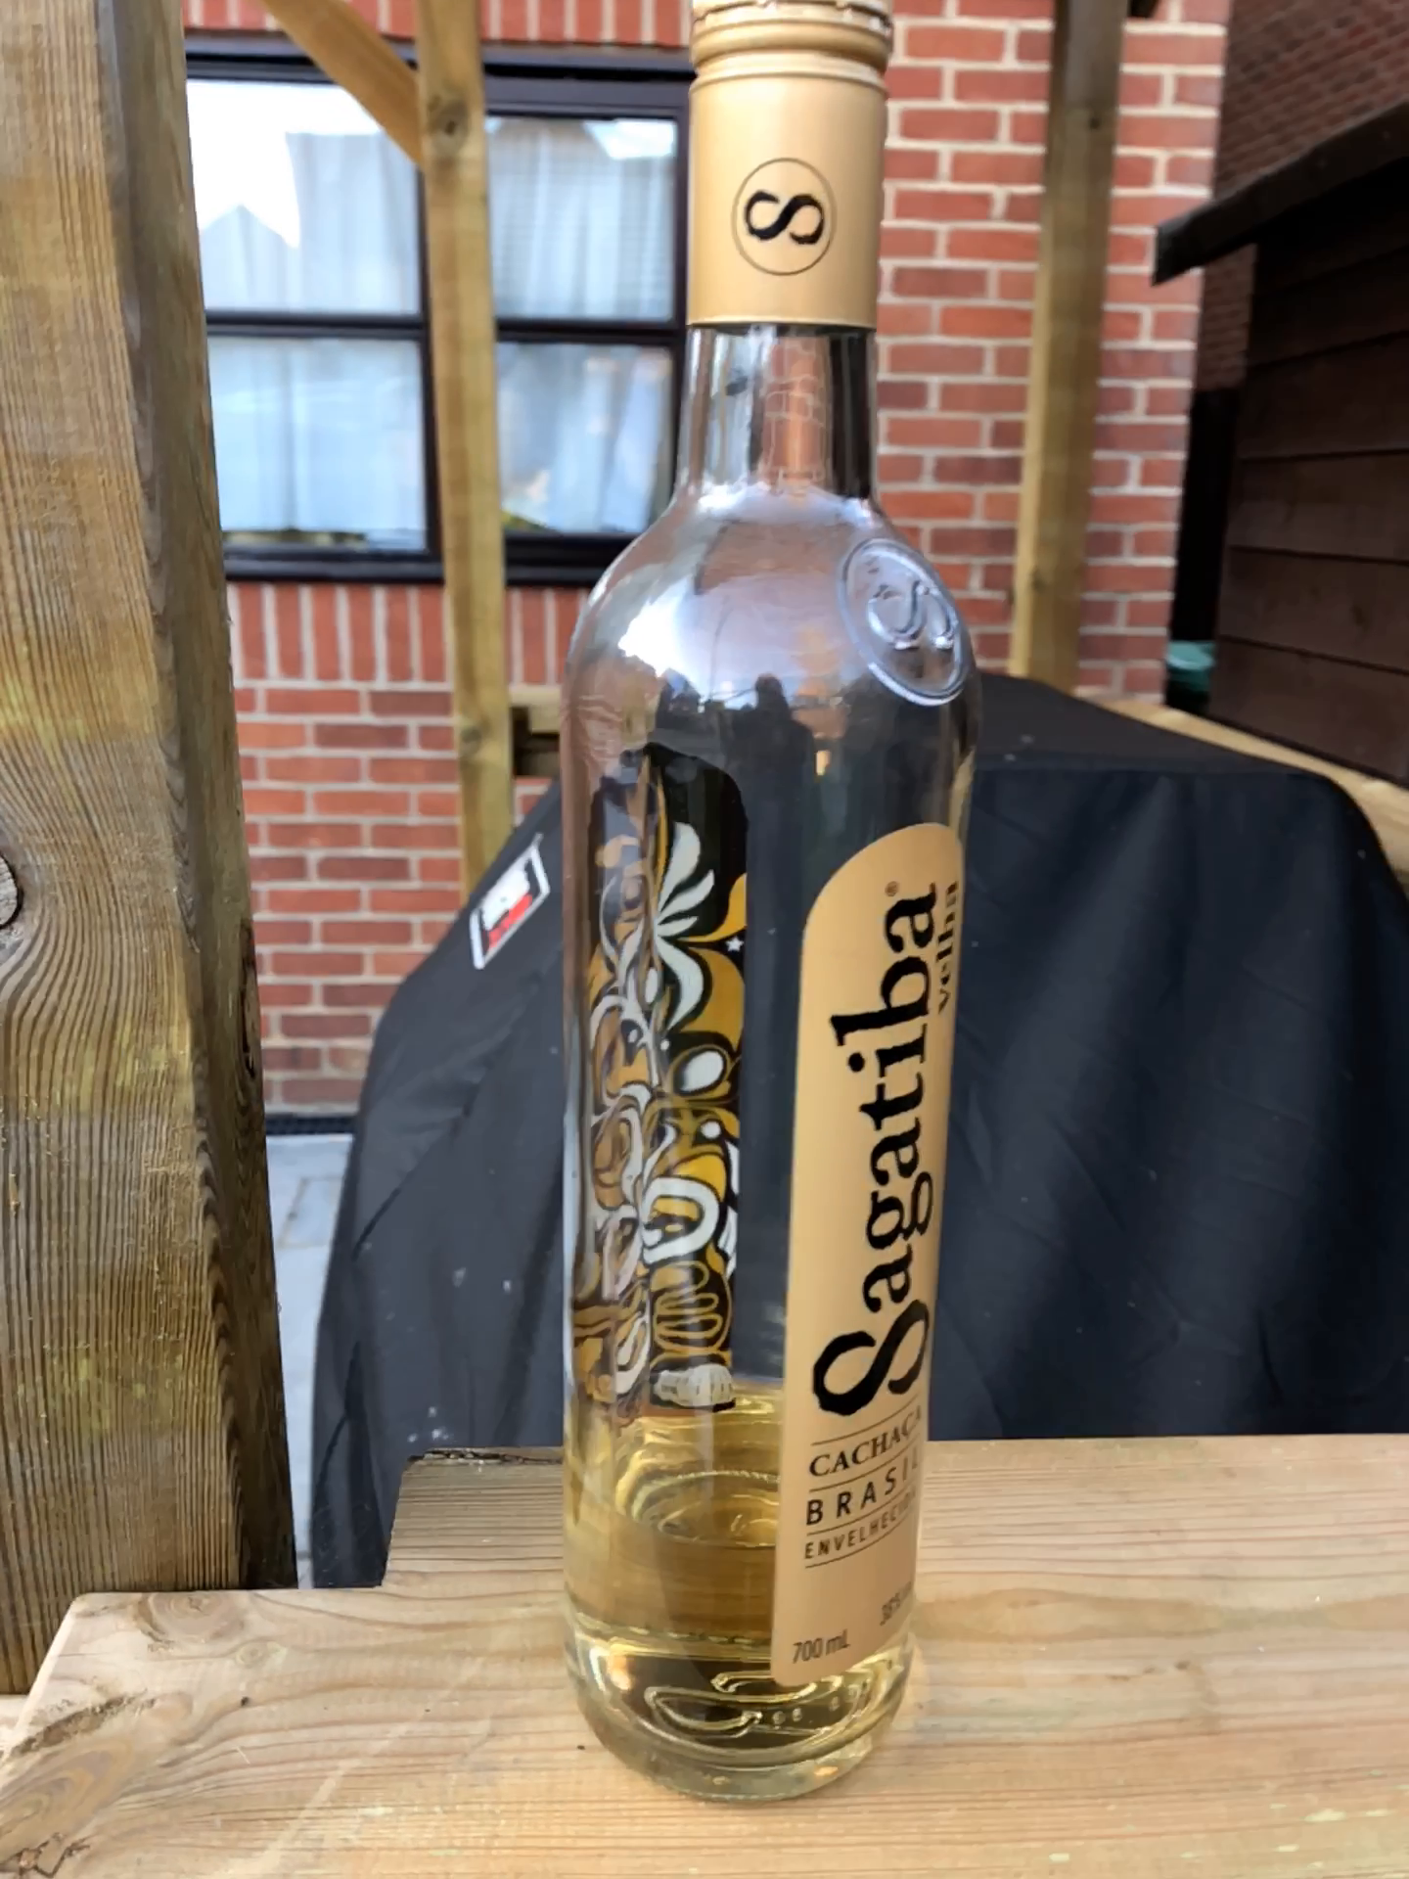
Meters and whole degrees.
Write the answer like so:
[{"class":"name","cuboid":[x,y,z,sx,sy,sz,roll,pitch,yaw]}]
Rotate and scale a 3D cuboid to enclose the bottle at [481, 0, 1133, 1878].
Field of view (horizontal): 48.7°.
[{"class":"bottle","cuboid":[0.013,0.004,0.279,0.080,0.328,0.060,-9,17,-35]}]
